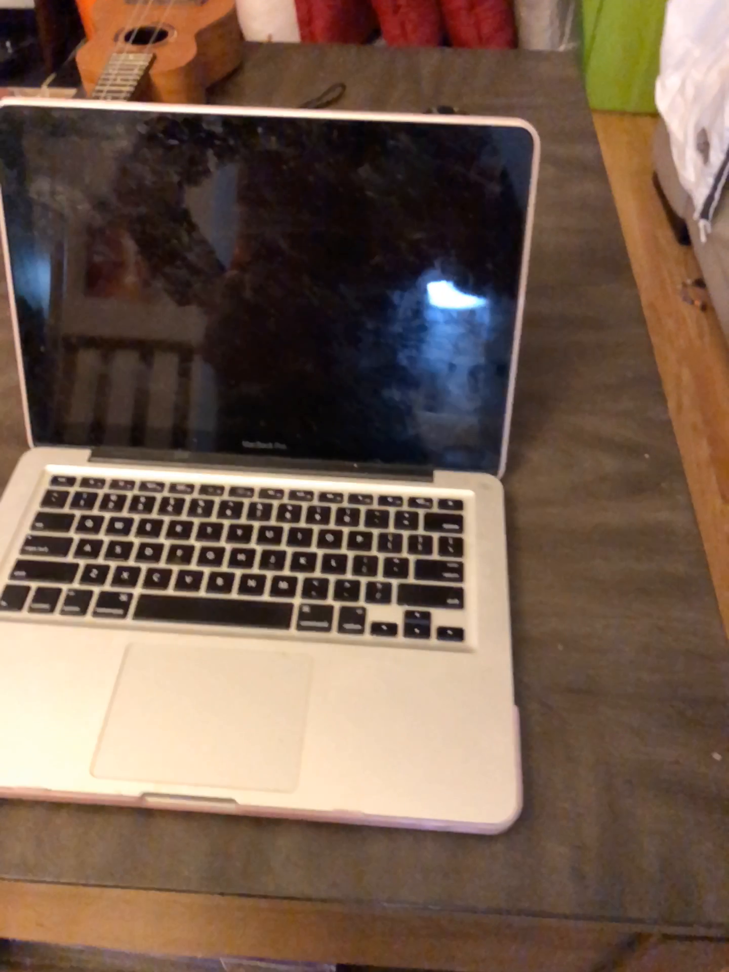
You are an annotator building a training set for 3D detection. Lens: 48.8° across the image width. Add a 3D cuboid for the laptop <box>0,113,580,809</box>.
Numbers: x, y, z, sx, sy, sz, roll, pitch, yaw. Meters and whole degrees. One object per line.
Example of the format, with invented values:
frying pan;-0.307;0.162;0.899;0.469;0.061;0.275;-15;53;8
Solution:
laptop;-0.076;-0.032;0.435;0.312;0.185;0.323;3;49;3
